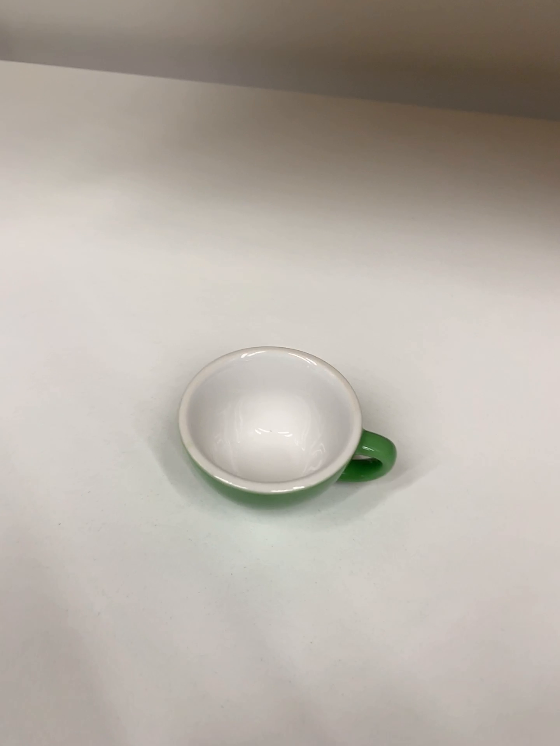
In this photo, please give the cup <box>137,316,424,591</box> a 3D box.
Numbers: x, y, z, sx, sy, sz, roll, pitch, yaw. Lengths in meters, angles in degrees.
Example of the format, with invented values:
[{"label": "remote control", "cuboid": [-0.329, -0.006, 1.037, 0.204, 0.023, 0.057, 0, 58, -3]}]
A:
[{"label": "cup", "cuboid": [0.004, 0.022, 0.176, 0.070, 0.040, 0.060, 8, 49, 6]}]
